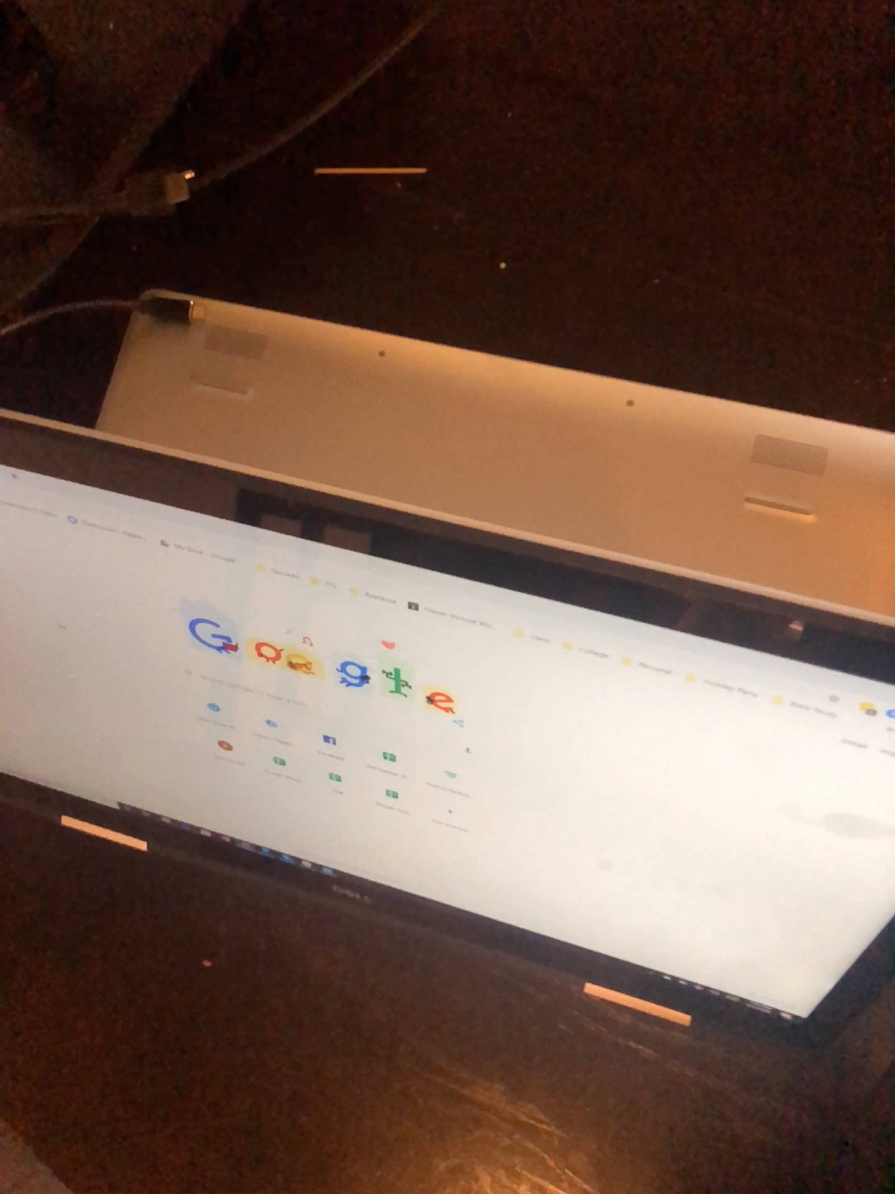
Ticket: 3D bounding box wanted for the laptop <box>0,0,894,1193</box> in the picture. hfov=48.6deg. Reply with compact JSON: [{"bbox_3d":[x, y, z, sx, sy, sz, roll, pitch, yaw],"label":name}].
[{"bbox_3d":[-0.023,-0.008,0.353,0.419,0.233,0.267,15,84,12],"label":"laptop"}]
